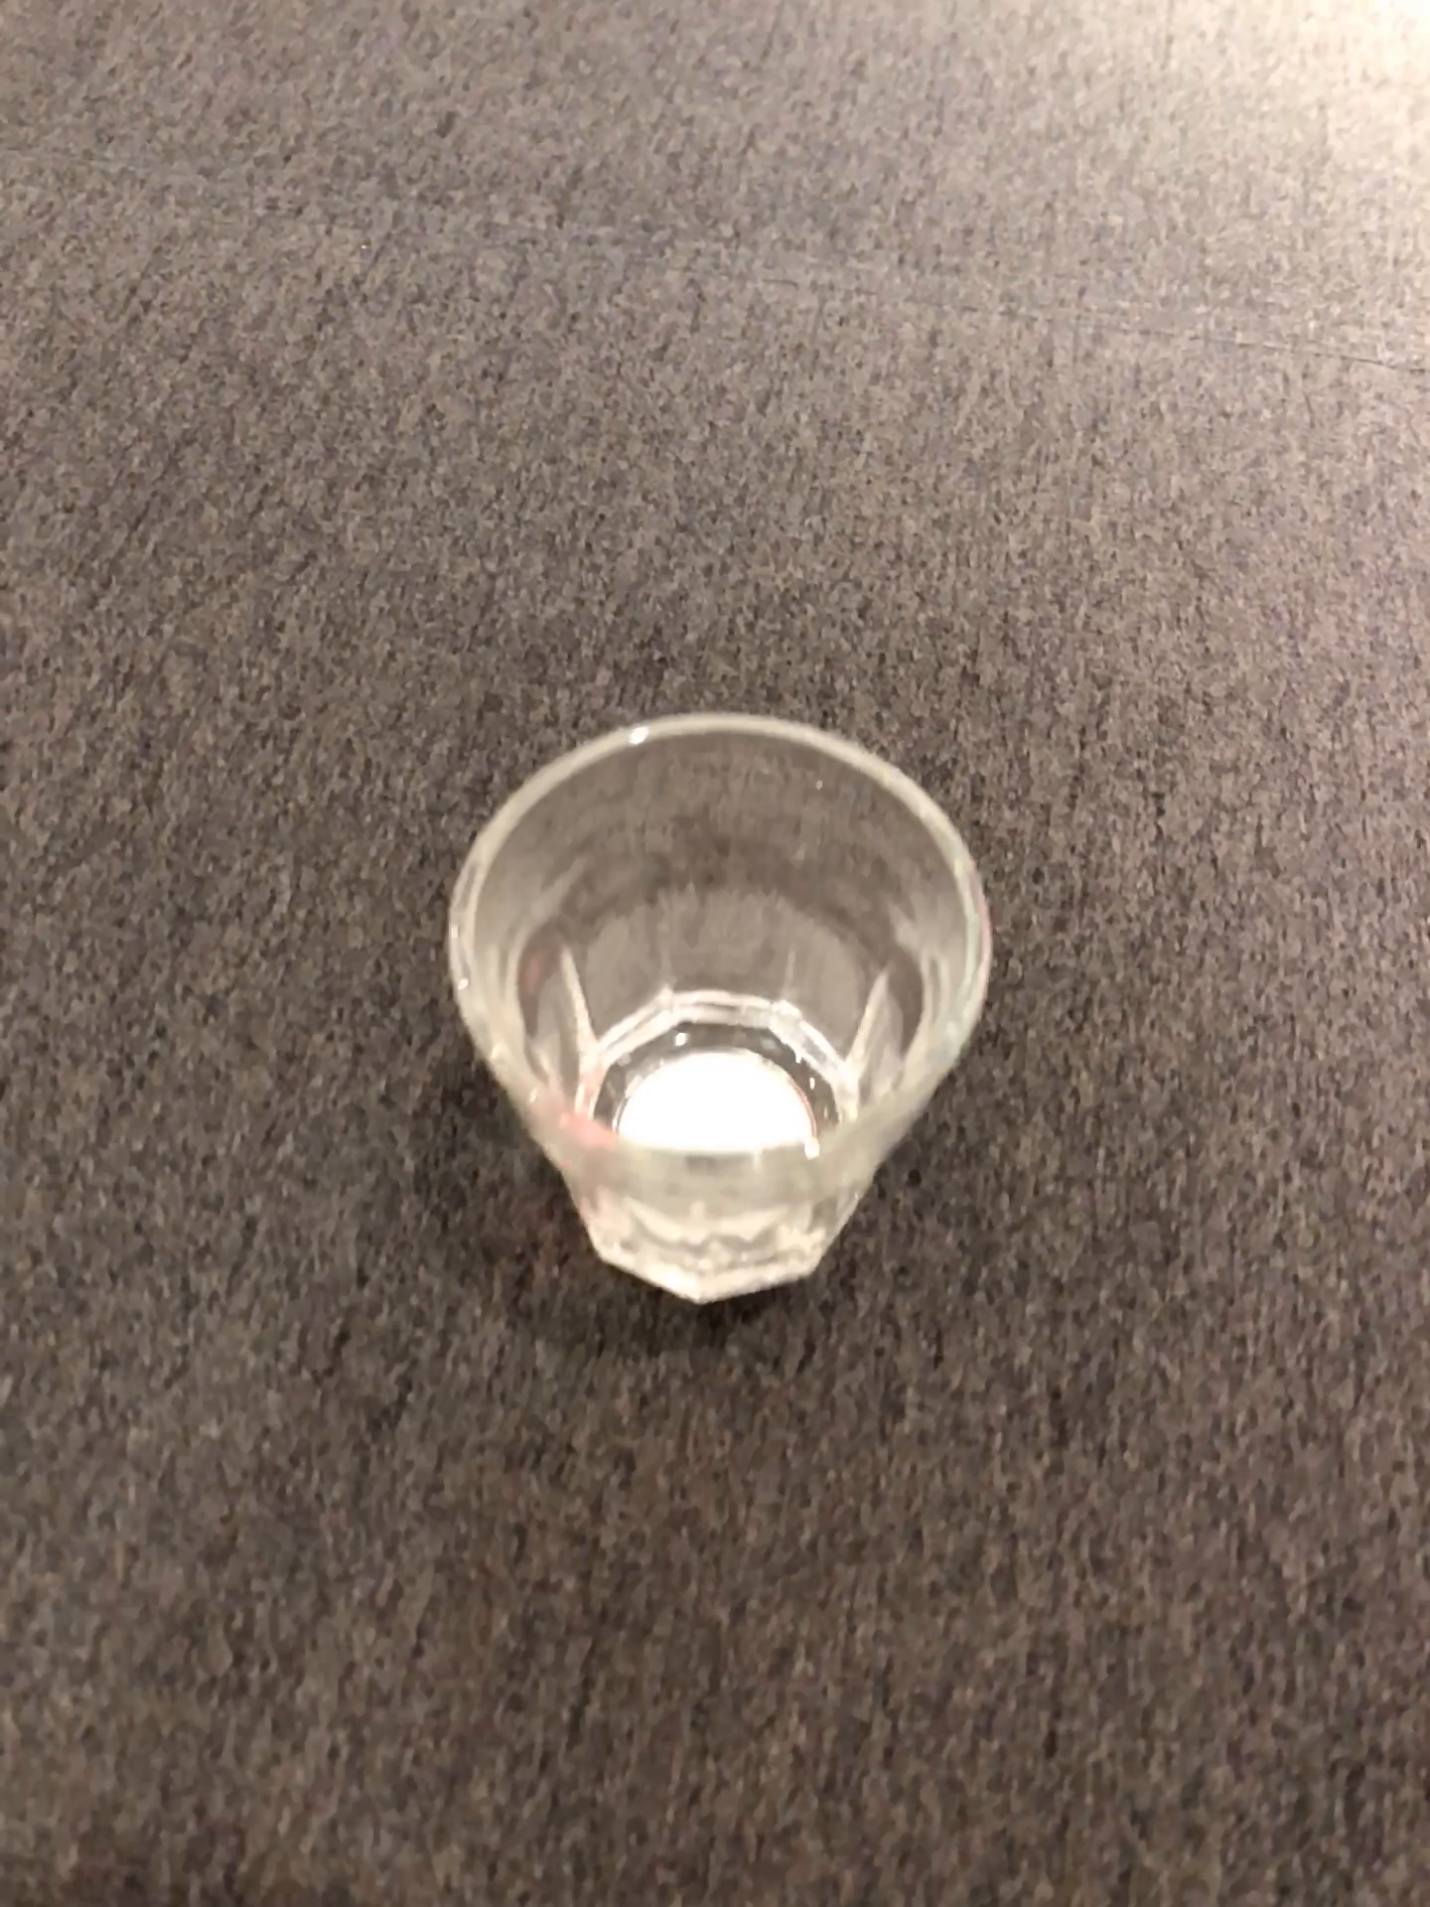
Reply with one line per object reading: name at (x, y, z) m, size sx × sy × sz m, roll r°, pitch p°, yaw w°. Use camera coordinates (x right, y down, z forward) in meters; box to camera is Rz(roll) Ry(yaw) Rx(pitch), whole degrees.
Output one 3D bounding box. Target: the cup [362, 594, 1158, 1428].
cup at (0.000, 0.006, 0.167) m, size 0.060 × 0.050 × 0.060 m, roll 1°, pitch 56°, yaw -1°
